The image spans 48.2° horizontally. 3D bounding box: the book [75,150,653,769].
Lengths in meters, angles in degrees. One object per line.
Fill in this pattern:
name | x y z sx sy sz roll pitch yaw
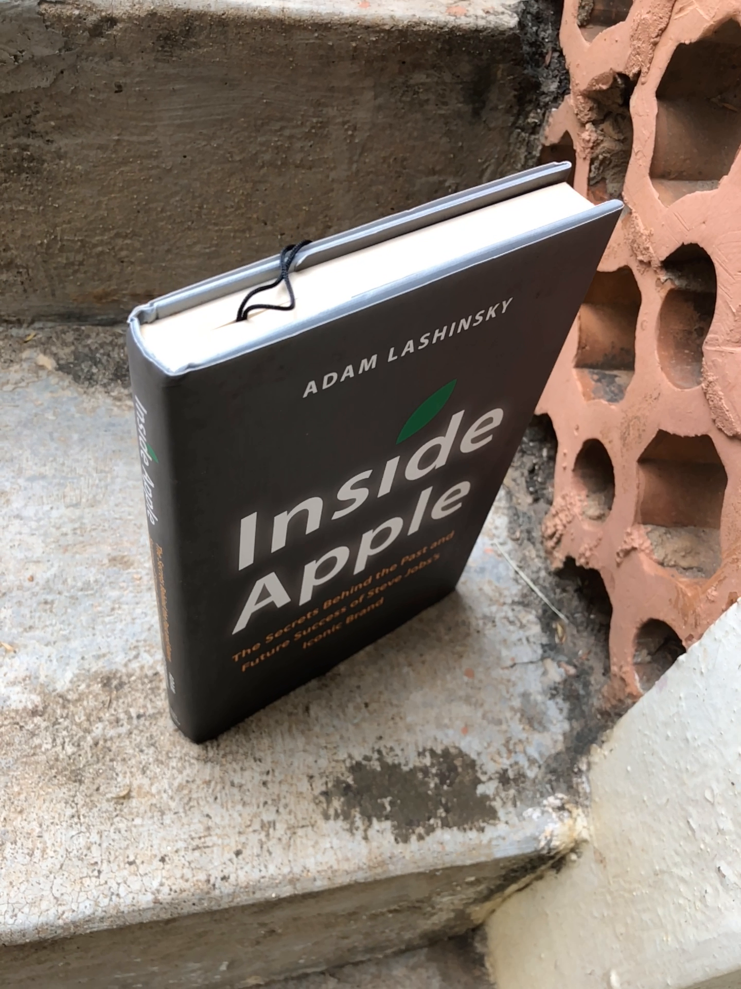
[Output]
book | -0.006 0.000 0.313 0.170 0.219 0.040 -27 61 -28
